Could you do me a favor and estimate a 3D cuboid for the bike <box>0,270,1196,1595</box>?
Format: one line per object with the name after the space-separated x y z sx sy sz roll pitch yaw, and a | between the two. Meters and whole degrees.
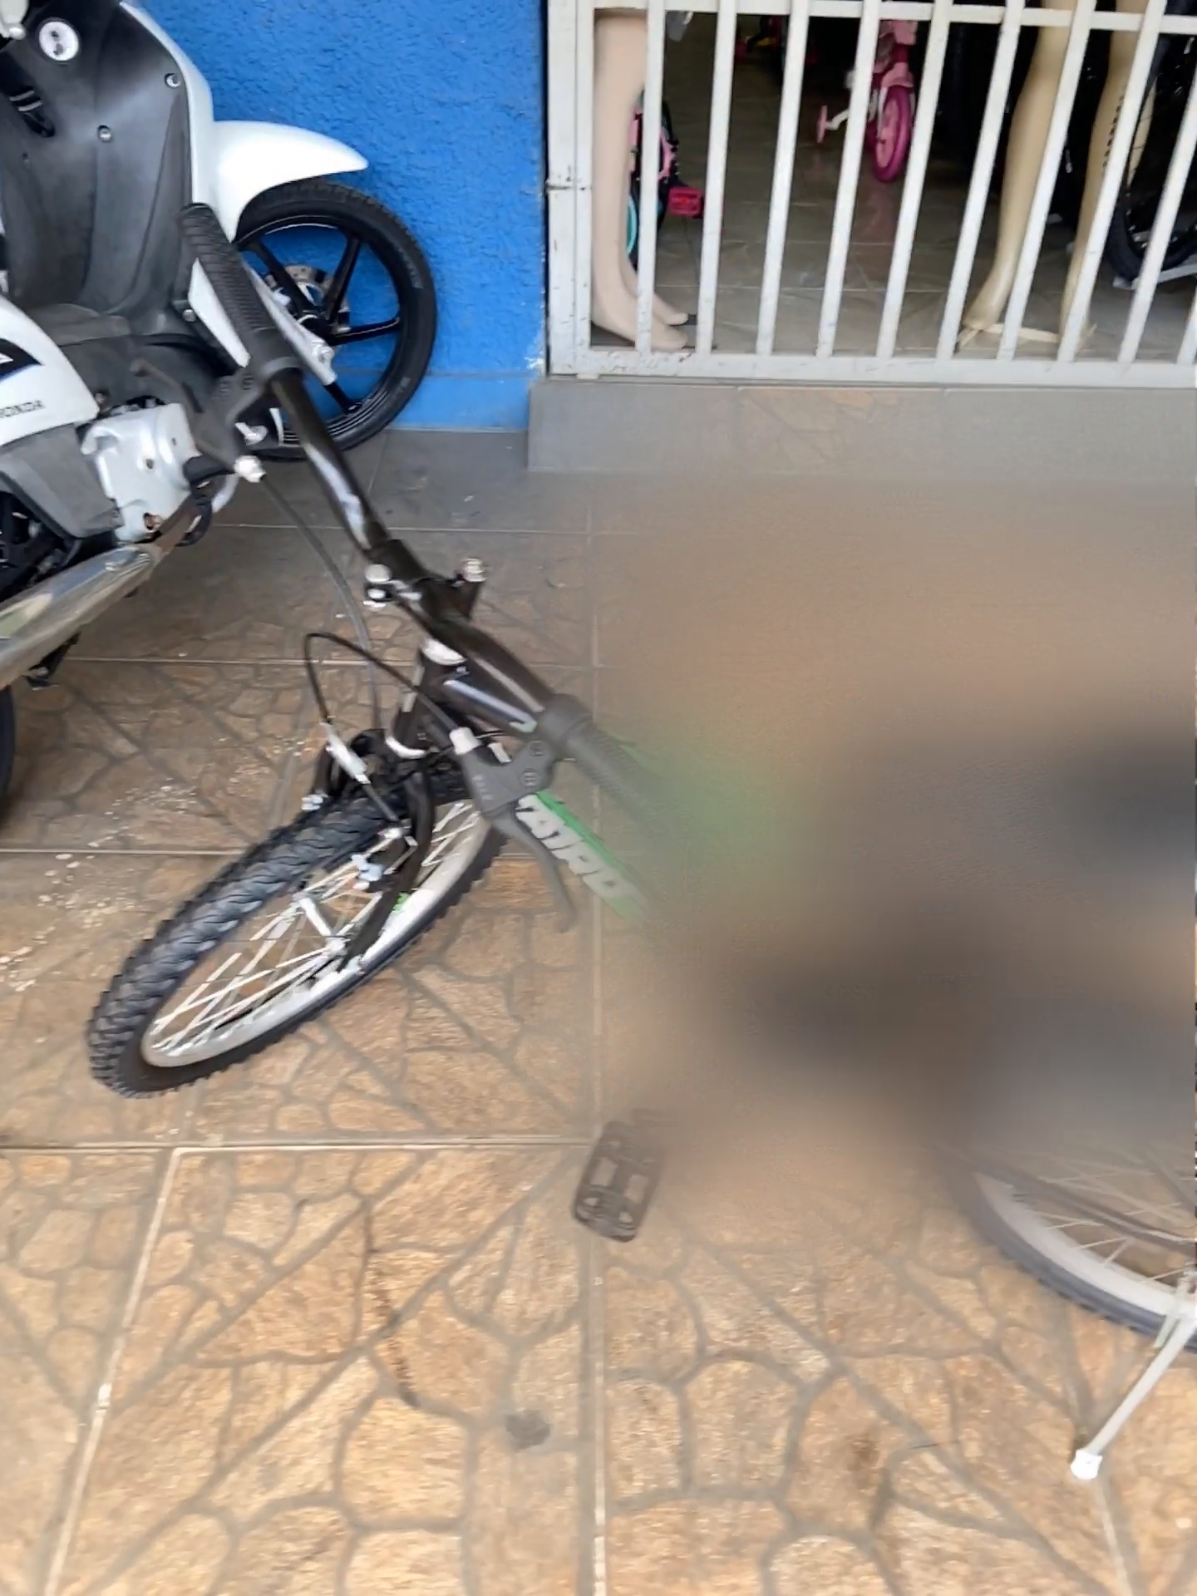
0.135 0.187 0.907 1.269 0.934 0.602 8 38 12 | bike
